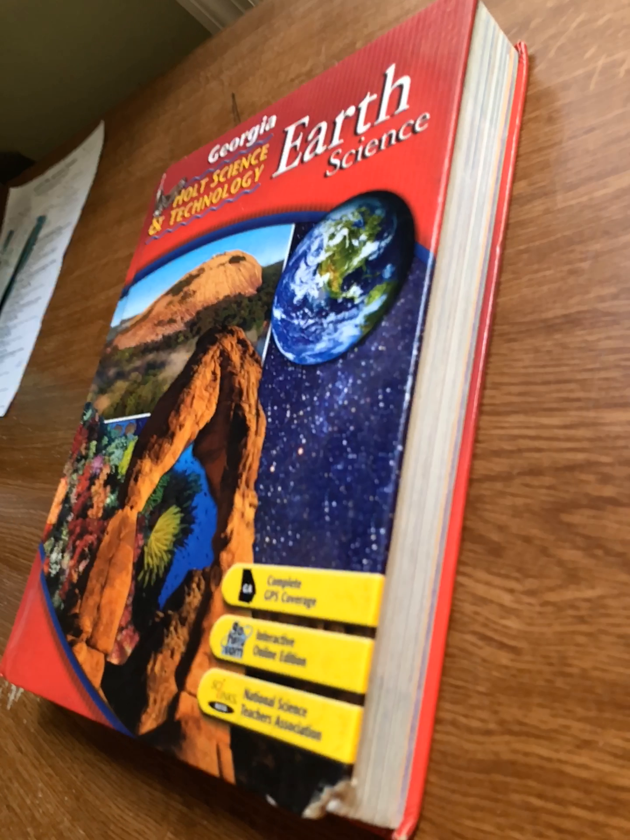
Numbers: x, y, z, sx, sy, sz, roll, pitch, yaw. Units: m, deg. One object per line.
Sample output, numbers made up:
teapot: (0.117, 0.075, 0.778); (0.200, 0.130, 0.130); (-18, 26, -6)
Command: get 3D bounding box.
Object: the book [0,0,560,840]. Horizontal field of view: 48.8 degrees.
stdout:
book: (-0.034, -0.007, 0.262); (0.215, 0.050, 0.266); (-7, 64, 45)
